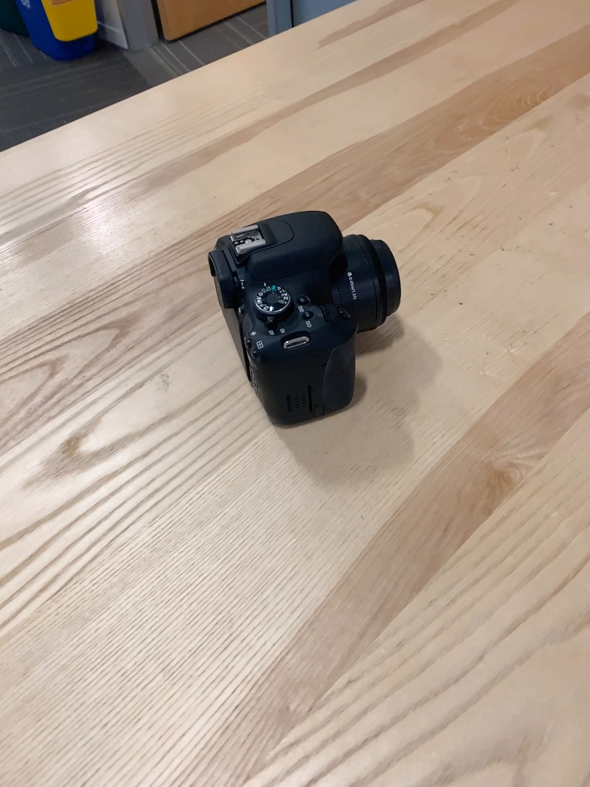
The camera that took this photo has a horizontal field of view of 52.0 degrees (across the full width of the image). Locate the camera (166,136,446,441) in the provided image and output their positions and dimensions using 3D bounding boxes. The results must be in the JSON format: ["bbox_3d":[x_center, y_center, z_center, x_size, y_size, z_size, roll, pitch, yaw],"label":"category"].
[{"bbox_3d":[0.001,-0.072,0.387,0.120,0.100,0.145,-17,50,-9],"label":"camera"}]
